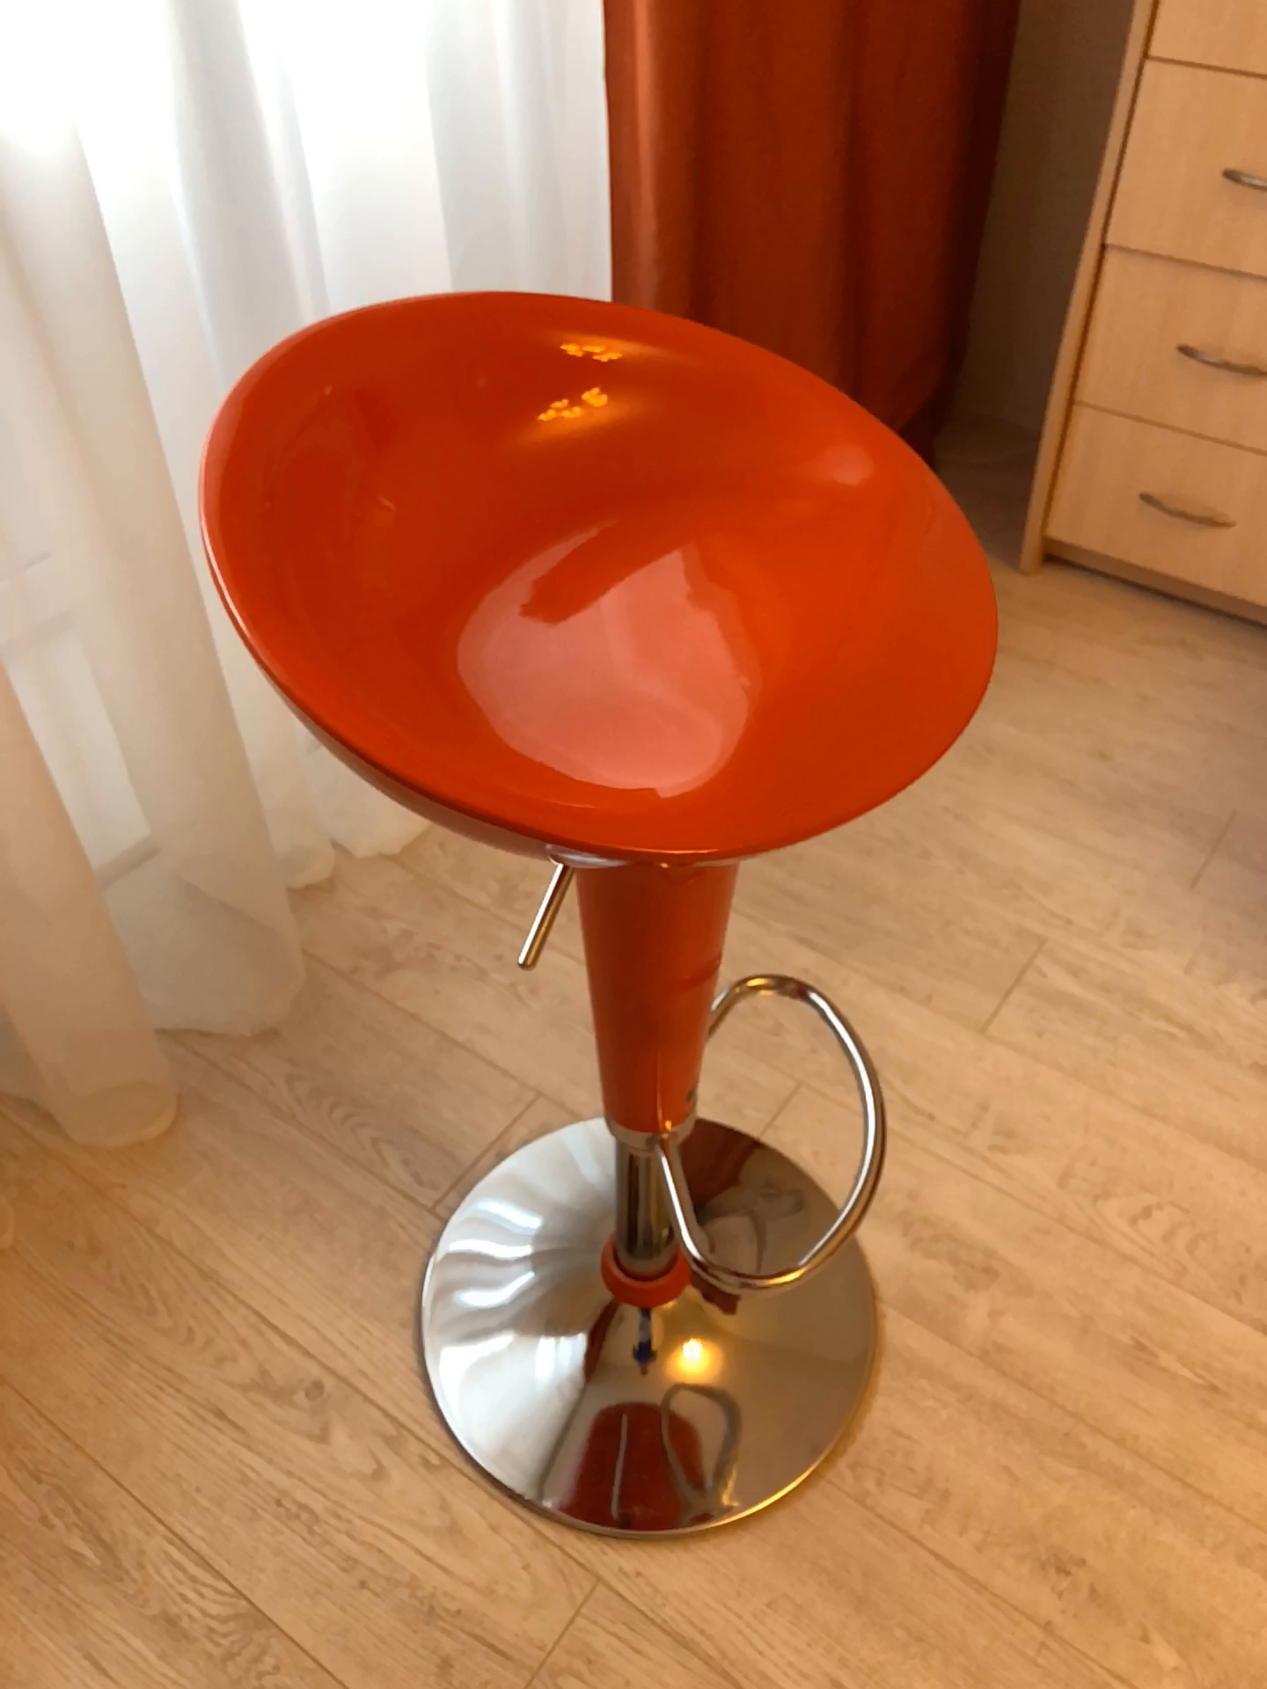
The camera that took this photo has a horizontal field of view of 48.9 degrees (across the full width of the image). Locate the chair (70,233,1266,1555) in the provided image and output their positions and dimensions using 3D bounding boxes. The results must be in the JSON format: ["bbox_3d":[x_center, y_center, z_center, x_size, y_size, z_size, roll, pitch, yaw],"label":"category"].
[{"bbox_3d":[0.028,0.071,0.860,0.420,0.725,0.413,1,42,1],"label":"chair"}]
